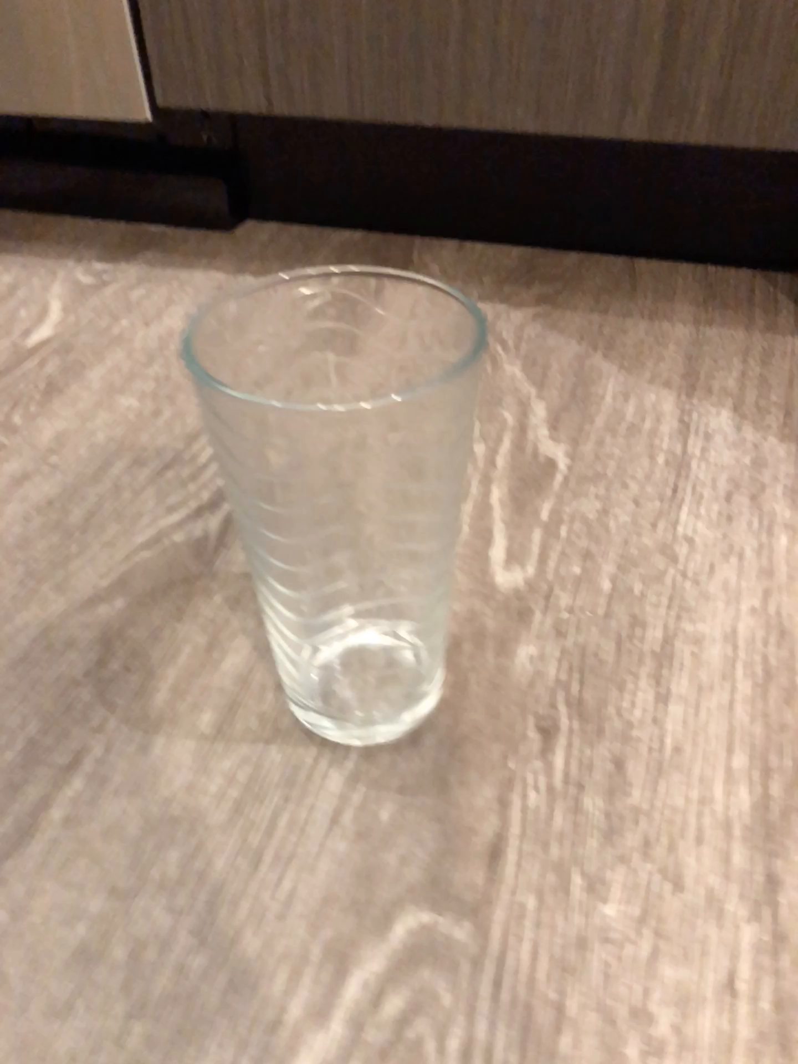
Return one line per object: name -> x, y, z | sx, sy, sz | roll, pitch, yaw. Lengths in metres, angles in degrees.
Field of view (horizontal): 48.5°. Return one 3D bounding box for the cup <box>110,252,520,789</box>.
cup -> -0.017, -0.003, 0.293 | 0.090, 0.139, 0.090 | -1, 40, 1
